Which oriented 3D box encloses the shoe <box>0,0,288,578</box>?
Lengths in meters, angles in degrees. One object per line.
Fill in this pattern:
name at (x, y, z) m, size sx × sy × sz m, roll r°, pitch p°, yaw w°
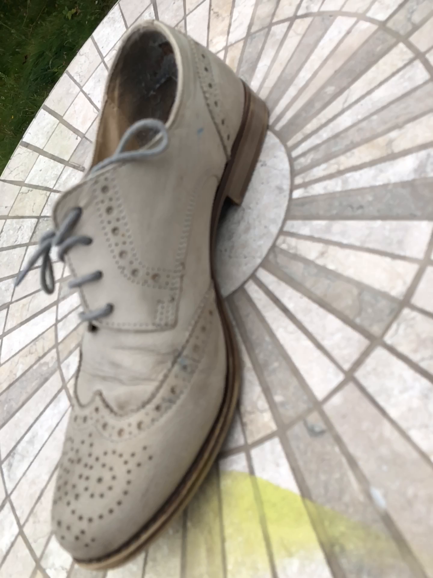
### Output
shoe at (-0.040, -0.010, 0.232) m, size 0.090 × 0.078 × 0.257 m, roll -6°, pitch 66°, yaw 41°
